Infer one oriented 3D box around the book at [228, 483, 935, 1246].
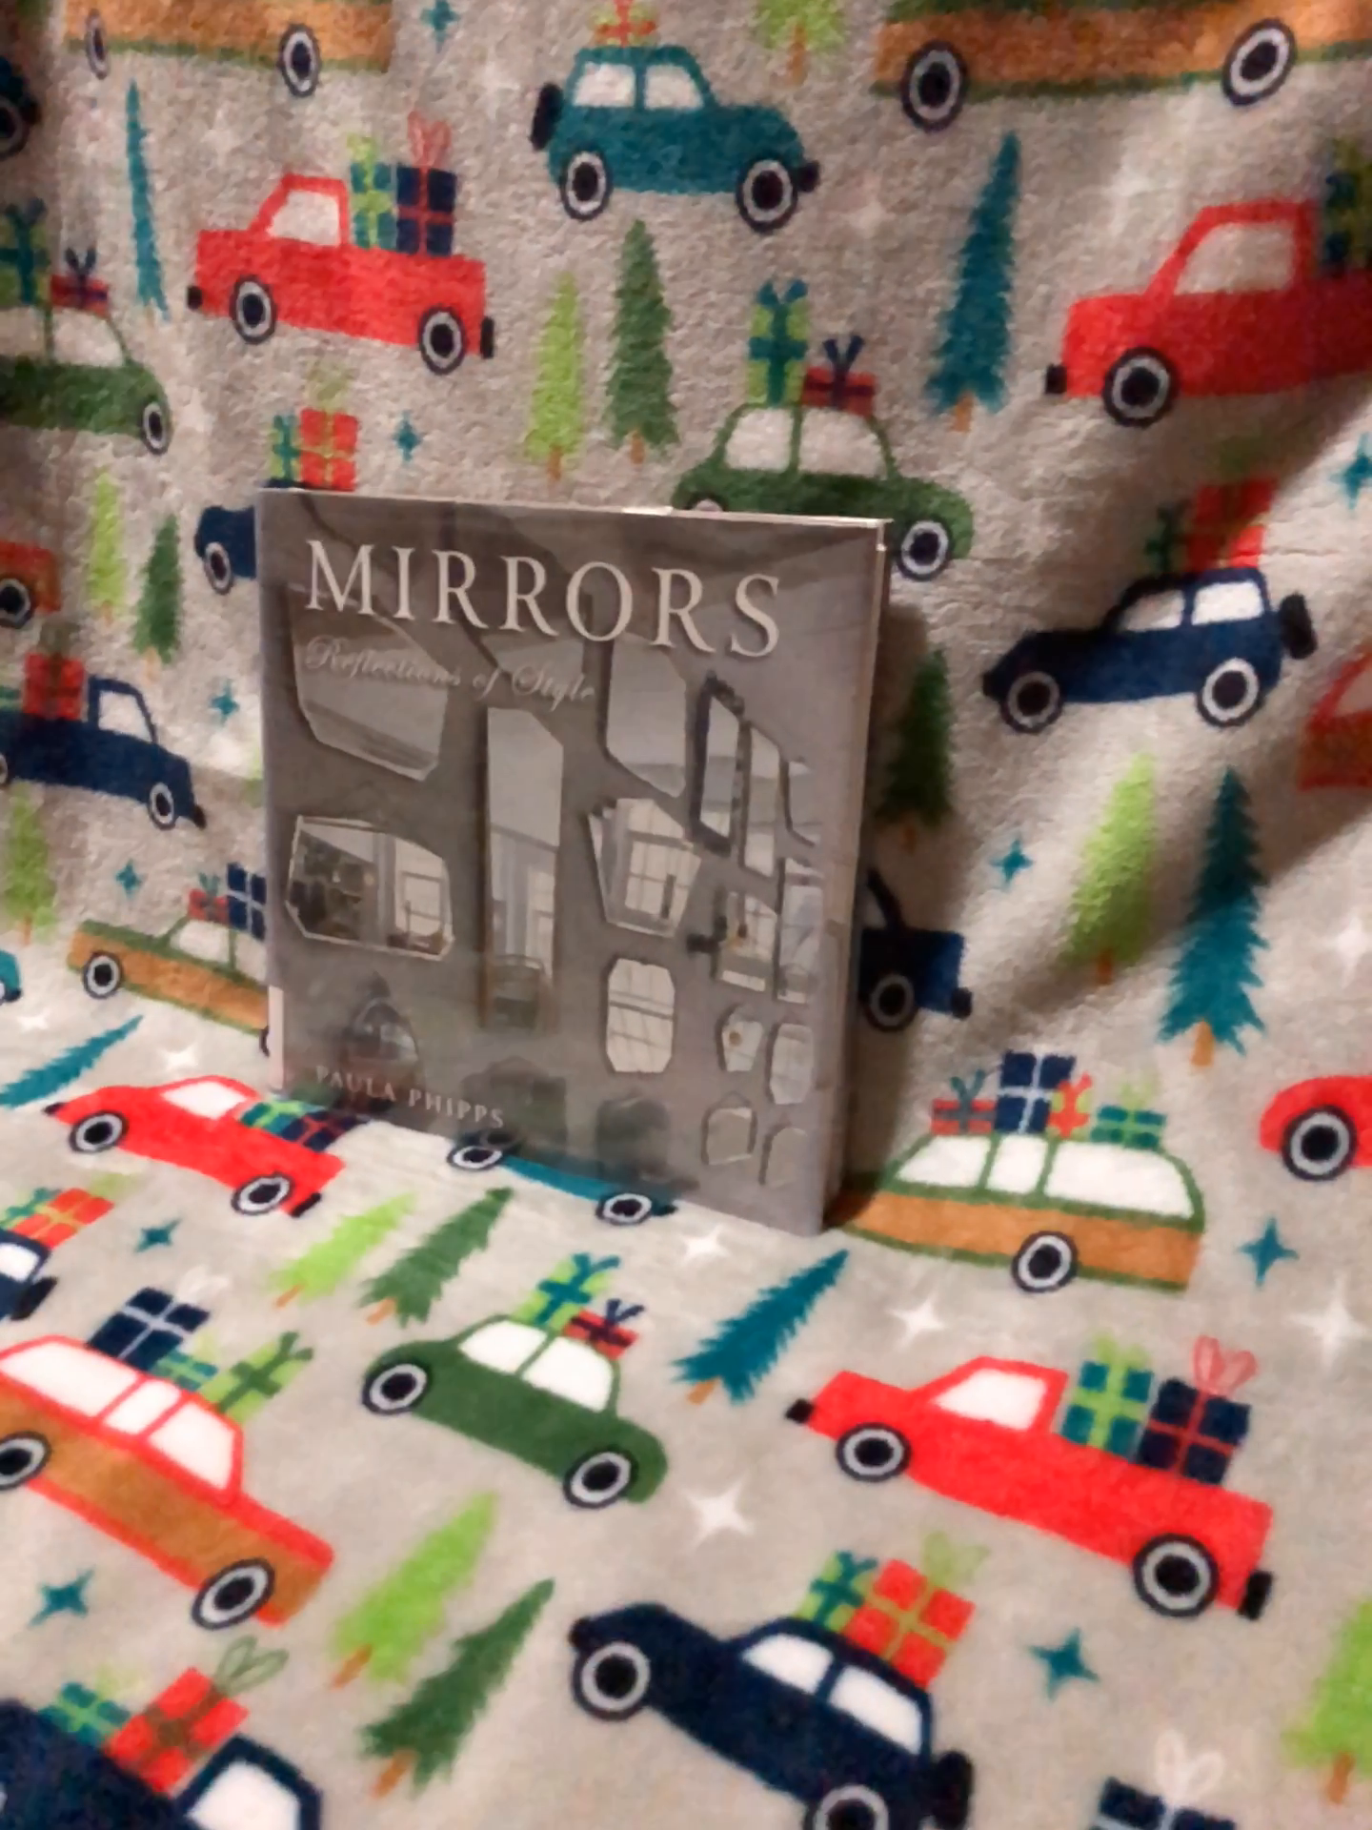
[{"bbox_3d":[-0.043,-0.023,0.478,0.223,0.208,0.030,10,18,24],"label":"book"}]
